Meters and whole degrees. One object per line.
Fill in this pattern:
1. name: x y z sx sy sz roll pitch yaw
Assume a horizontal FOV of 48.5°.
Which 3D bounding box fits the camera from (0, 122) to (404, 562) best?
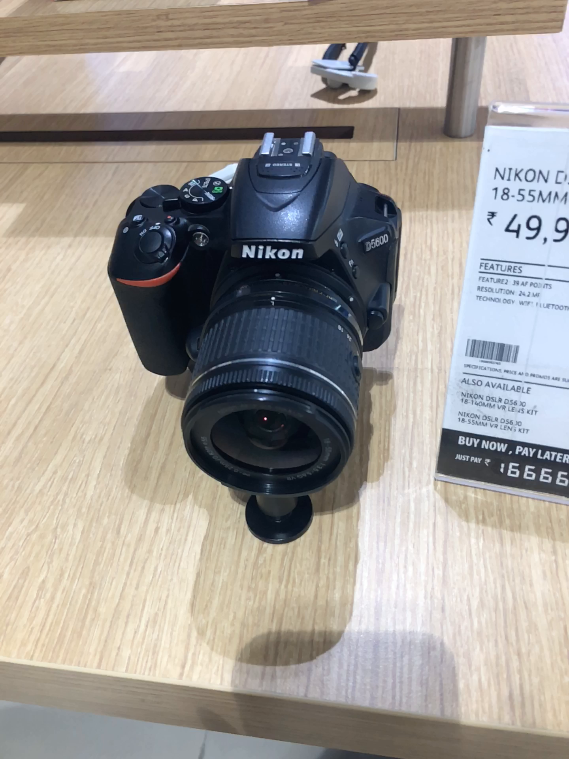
1. camera: -0.017 -0.025 0.272 0.130 0.099 0.161 2 46 9
